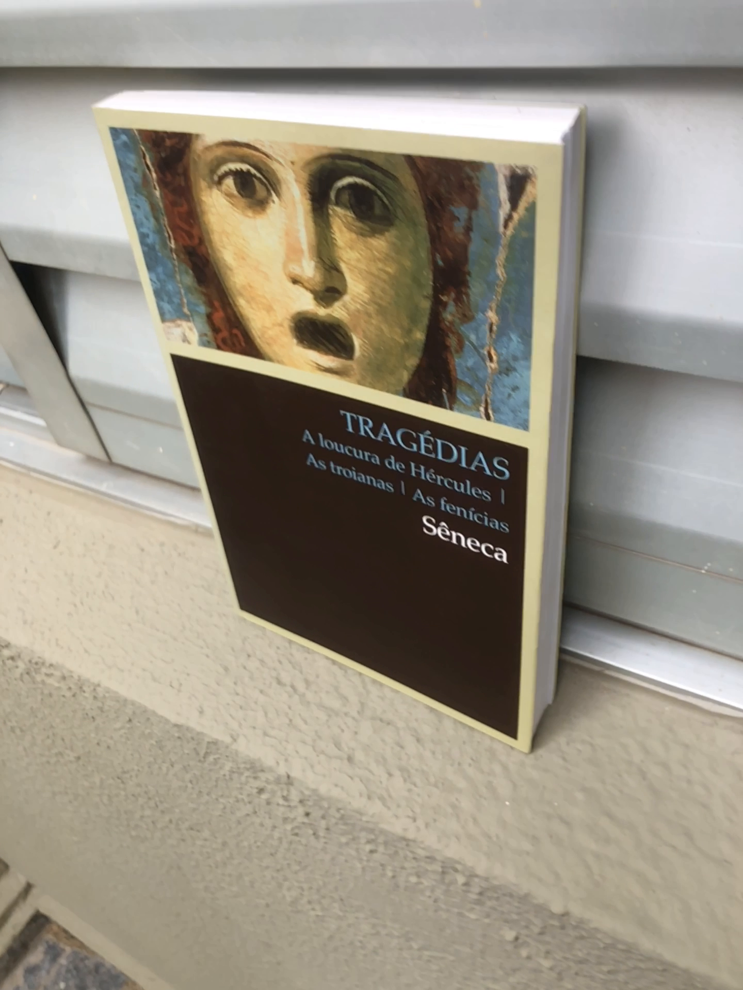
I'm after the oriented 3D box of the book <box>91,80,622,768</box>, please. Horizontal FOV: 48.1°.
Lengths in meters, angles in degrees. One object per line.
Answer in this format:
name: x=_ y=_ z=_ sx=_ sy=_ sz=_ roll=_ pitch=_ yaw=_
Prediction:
book: x=-0.004 y=-0.017 z=0.261 sx=0.145 sy=0.196 sz=0.026 roll=21 pitch=44 yaw=32
